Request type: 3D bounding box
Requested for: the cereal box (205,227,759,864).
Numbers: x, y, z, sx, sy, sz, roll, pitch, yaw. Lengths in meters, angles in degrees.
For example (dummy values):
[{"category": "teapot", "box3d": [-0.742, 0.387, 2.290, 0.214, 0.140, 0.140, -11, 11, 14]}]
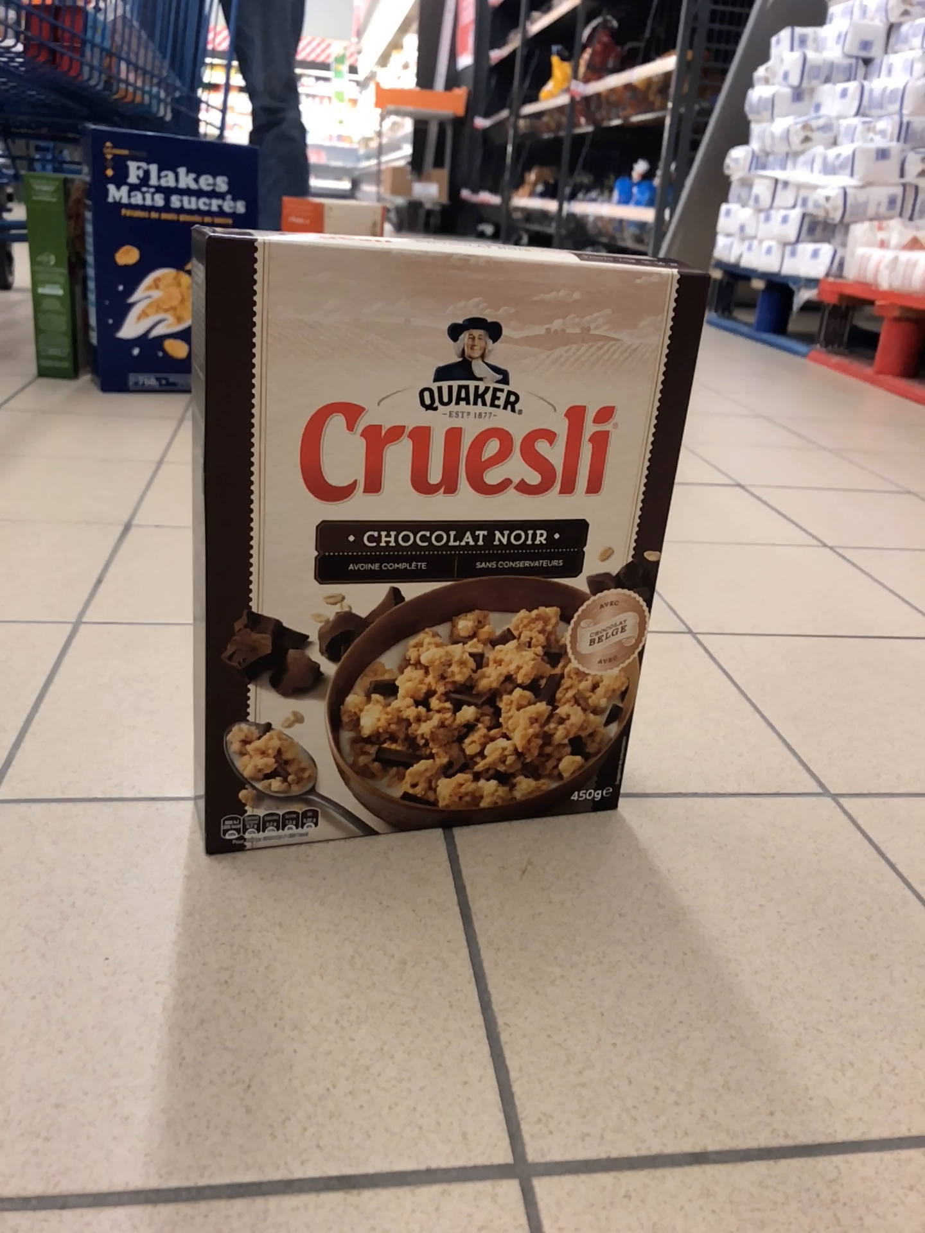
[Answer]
[{"category": "cereal box", "box3d": [0.000, -0.025, 0.421, 0.200, 0.239, 0.050, -2, 22, -18]}]
